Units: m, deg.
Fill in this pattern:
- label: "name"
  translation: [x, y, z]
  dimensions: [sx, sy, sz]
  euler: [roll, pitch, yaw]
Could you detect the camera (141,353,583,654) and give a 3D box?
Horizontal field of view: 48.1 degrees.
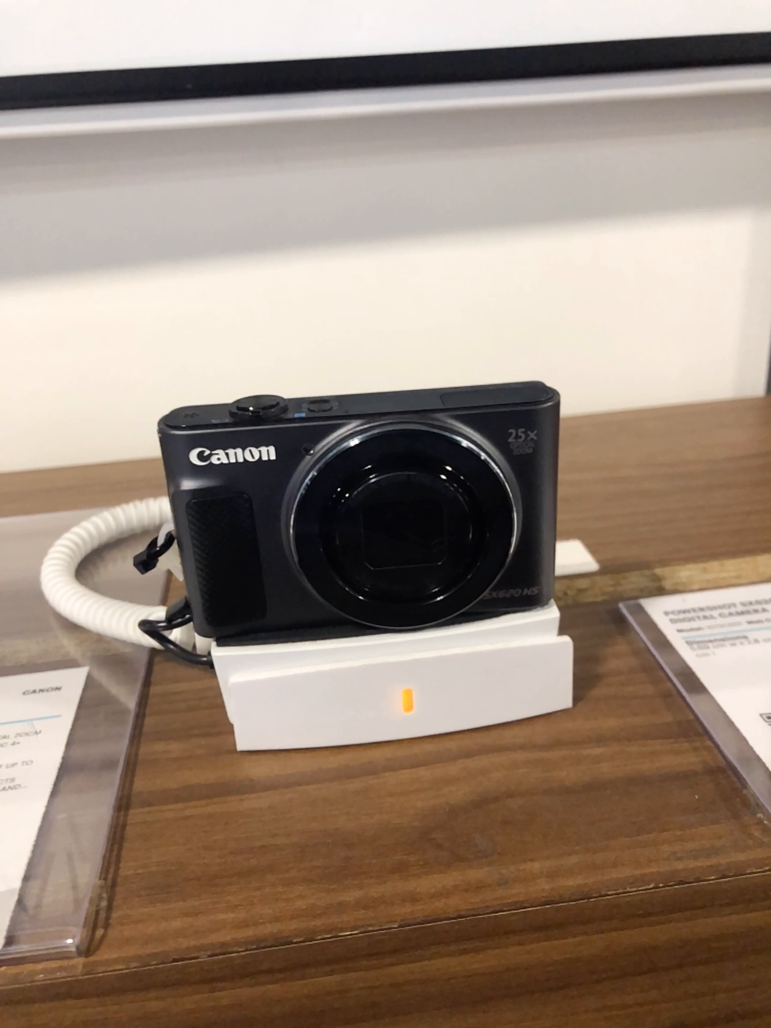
- label: "camera"
  translation: [-0.004, -0.004, 0.219]
  dimensions: [0.100, 0.060, 0.030]
  euler: [-6, 22, -5]
